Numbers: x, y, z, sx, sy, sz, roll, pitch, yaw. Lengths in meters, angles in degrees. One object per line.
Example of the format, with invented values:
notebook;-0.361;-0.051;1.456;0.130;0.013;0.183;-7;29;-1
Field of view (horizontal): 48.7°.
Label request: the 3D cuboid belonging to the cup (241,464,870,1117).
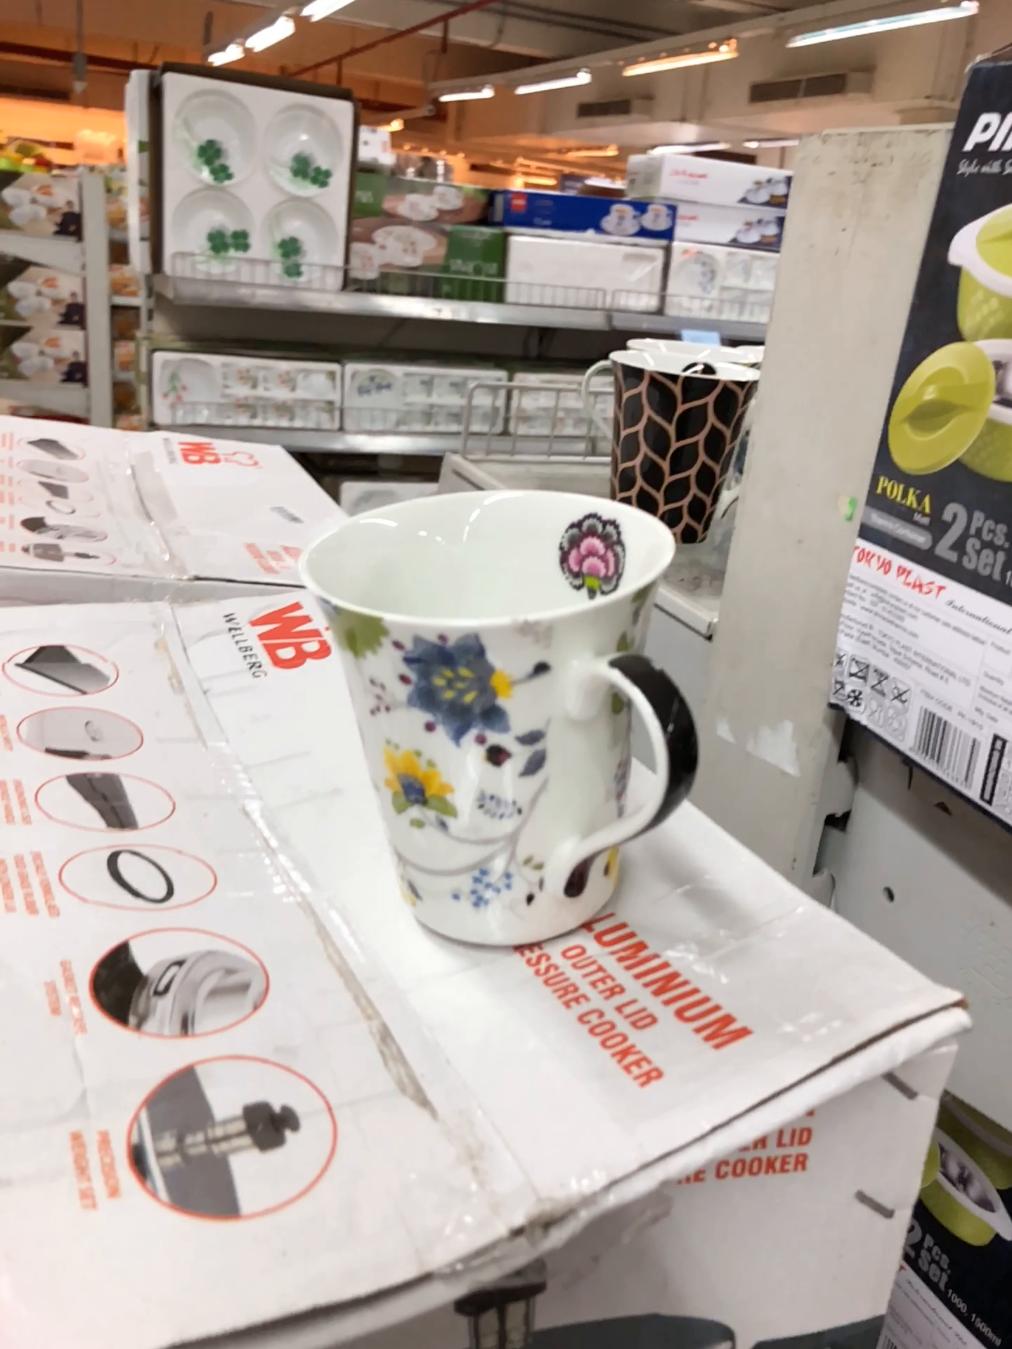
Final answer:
cup;0.008;0.015;0.267;0.080;0.089;0.120;-23;33;-31
